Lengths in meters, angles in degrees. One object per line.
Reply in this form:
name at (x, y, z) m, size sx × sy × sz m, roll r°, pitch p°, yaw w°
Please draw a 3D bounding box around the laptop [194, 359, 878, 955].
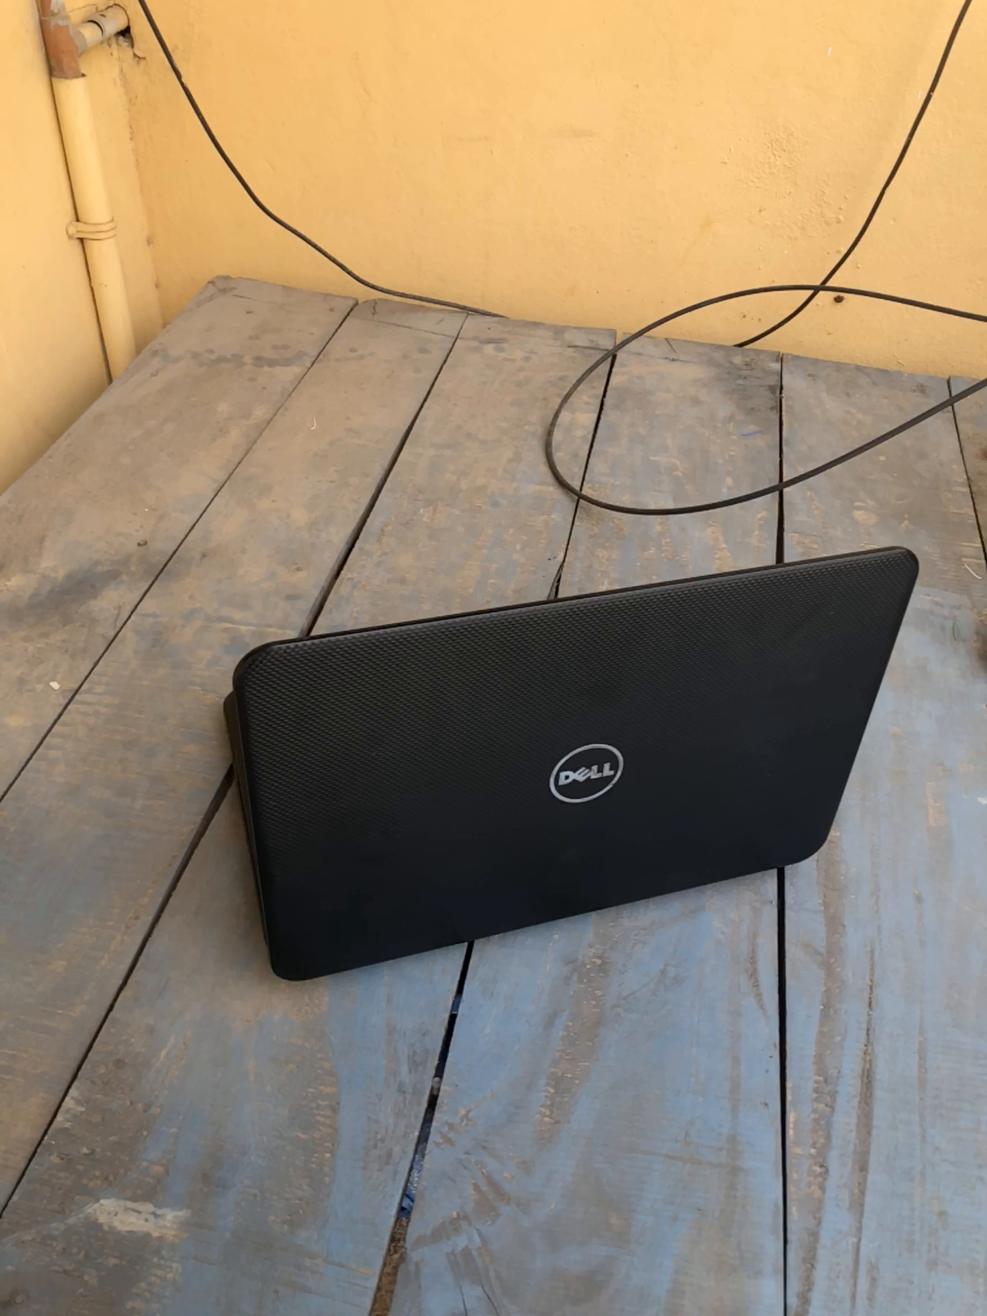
laptop at (0.009, -0.014, 0.689) m, size 0.340 × 0.234 × 0.226 m, roll -9°, pitch 43°, yaw -14°
